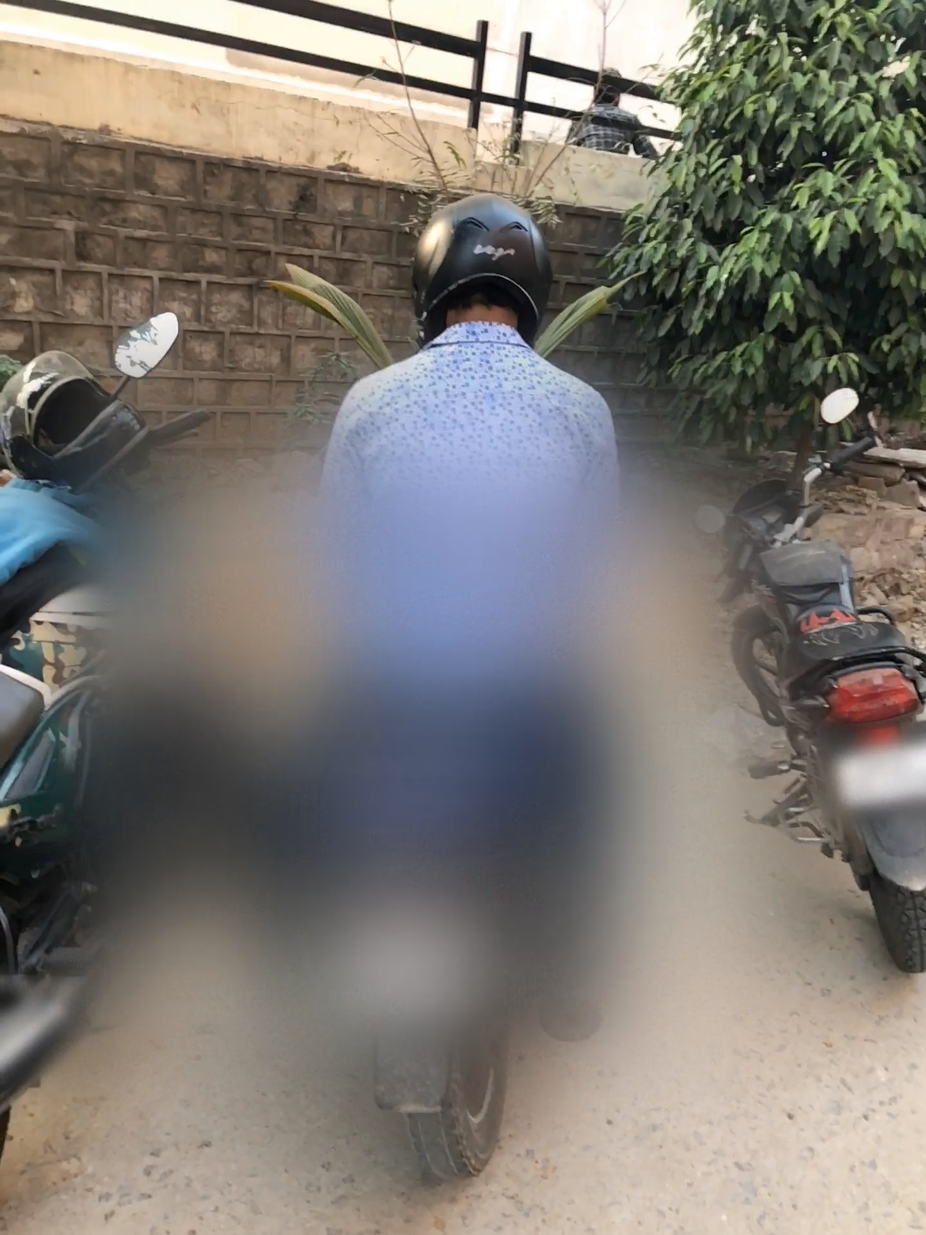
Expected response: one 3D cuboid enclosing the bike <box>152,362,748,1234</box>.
[{"bbox_3d":[-0.012,0.170,2.177,0.754,1.077,1.584,7,22,2],"label":"bike"}]
